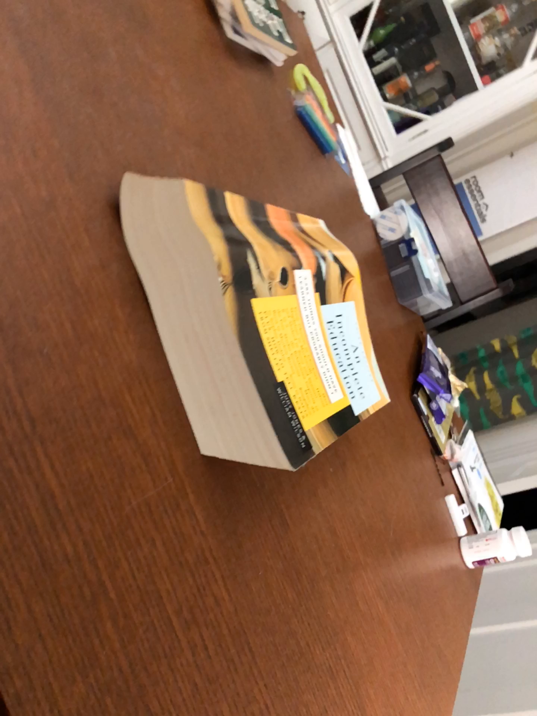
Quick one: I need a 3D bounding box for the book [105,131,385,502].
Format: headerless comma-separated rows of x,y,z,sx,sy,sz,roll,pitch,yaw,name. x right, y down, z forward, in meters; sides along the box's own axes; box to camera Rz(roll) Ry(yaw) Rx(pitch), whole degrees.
0.006,-0.036,0.461,0.251,0.060,0.210,-17,94,-63,book
